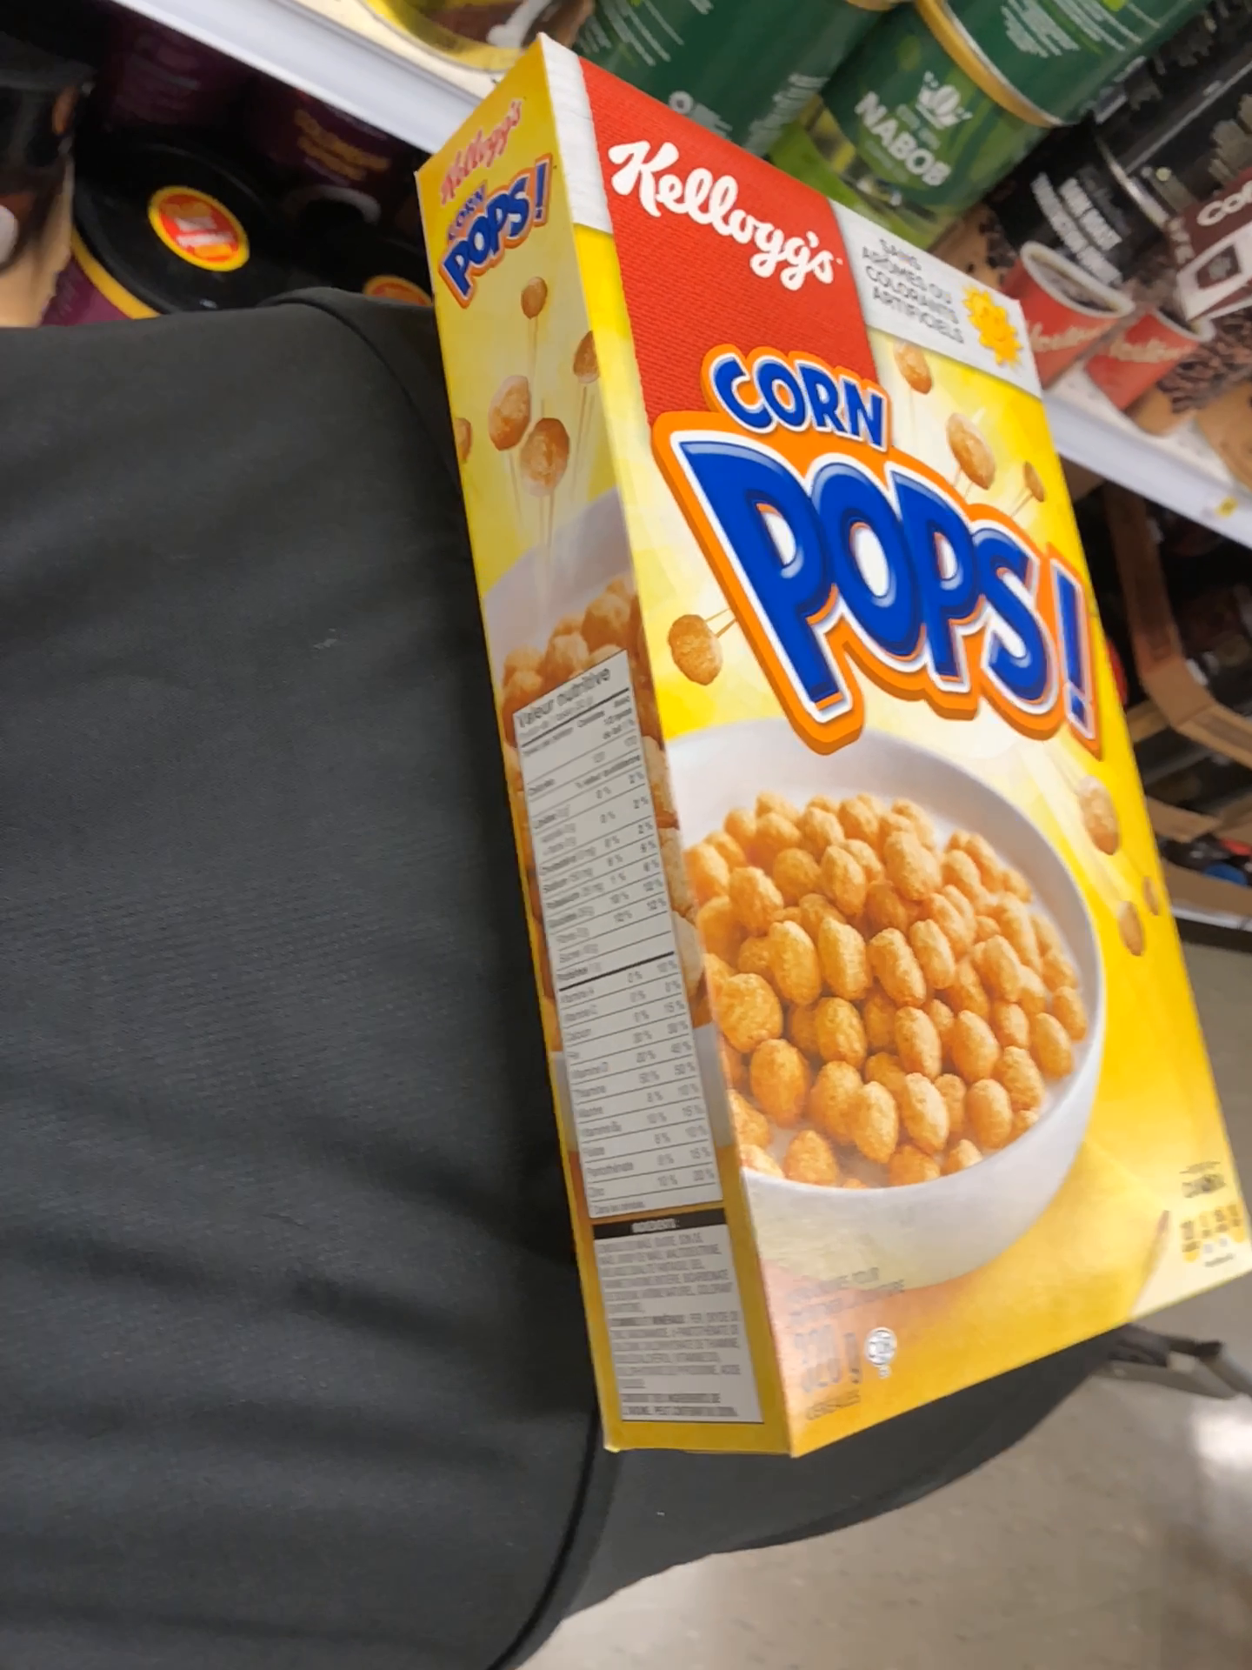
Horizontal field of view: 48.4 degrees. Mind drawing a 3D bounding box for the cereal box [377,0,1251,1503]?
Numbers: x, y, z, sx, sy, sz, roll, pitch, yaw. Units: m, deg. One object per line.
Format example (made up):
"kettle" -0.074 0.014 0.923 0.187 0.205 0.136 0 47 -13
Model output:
"cereal box" 0.059 -0.037 0.344 0.201 0.060 0.320 3 73 -42
